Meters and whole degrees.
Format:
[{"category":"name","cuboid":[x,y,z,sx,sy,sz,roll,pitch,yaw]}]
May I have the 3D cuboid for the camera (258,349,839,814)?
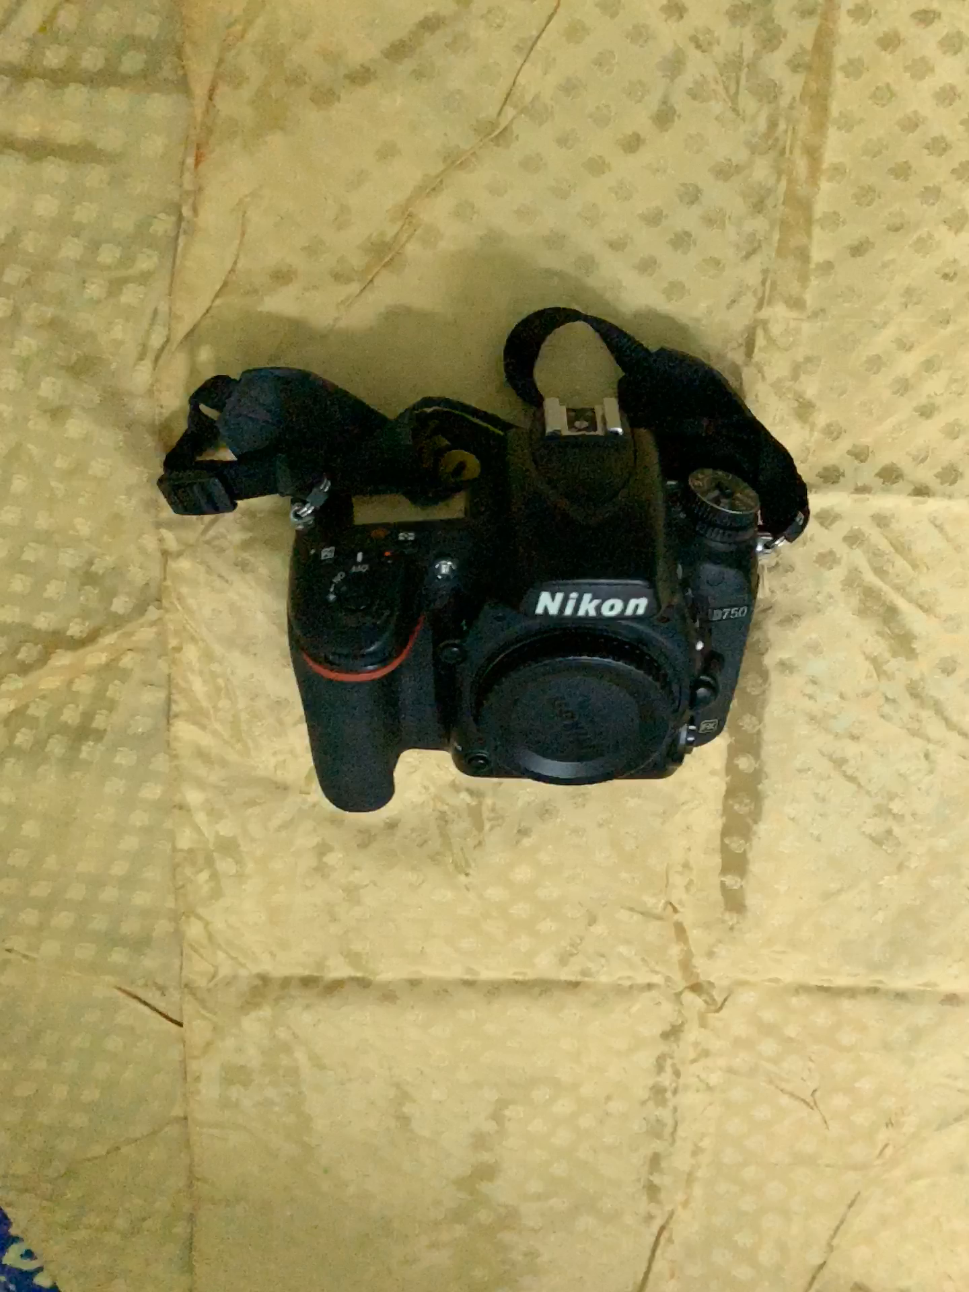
[{"category":"camera","cuboid":[0.014,-0.016,0.288,0.130,0.073,0.111,1,134,0]}]
